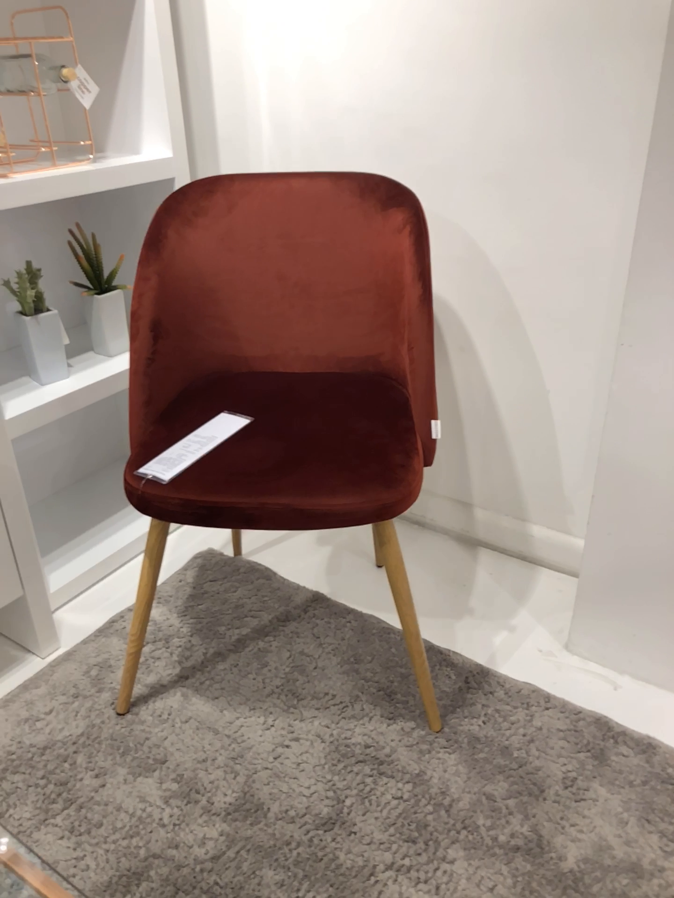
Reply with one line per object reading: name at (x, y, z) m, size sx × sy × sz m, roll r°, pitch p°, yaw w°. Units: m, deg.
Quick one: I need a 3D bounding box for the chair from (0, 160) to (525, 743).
chair at (-0.094, -0.043, 1.232) m, size 0.590 × 0.735 × 0.655 m, roll -1°, pitch 27°, yaw 0°
